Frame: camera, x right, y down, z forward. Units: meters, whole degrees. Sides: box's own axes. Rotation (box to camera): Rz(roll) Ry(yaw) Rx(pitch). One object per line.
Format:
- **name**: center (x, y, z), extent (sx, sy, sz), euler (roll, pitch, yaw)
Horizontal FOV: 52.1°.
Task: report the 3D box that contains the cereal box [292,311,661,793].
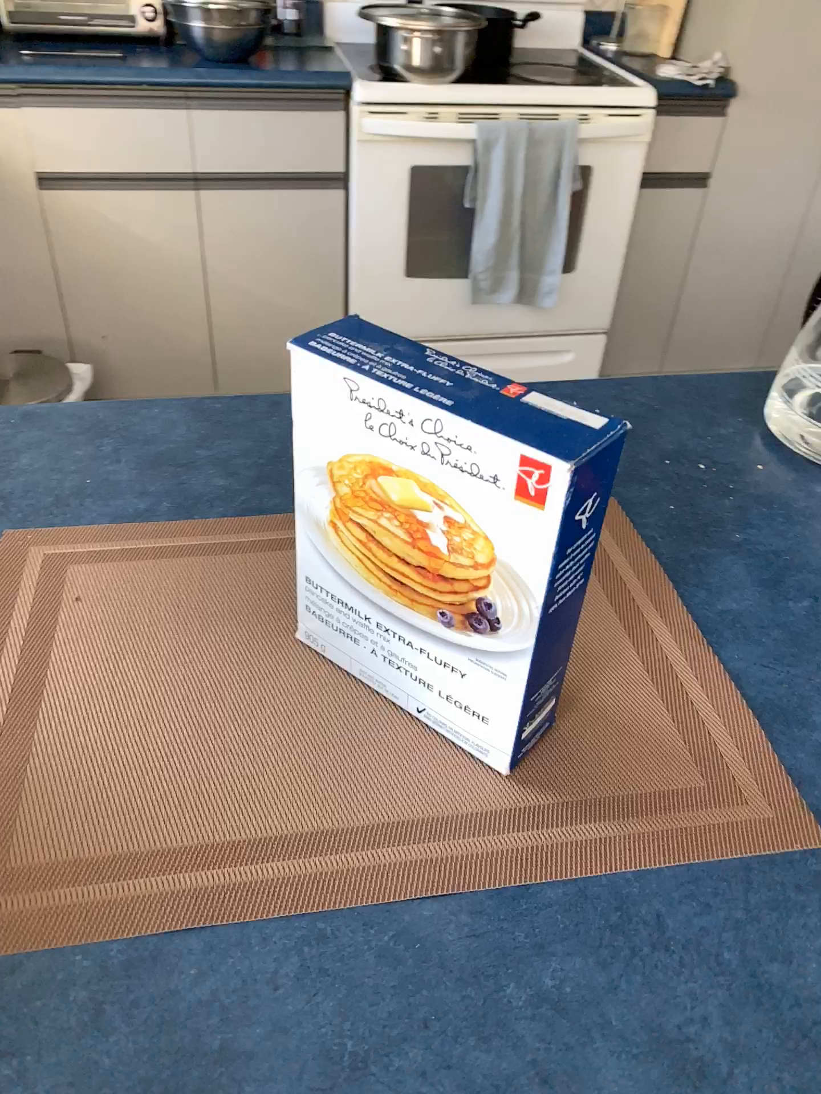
- **cereal box**: center (0.020, 0.005, 0.447), extent (0.170, 0.208, 0.050), euler (27, 44, 27)
